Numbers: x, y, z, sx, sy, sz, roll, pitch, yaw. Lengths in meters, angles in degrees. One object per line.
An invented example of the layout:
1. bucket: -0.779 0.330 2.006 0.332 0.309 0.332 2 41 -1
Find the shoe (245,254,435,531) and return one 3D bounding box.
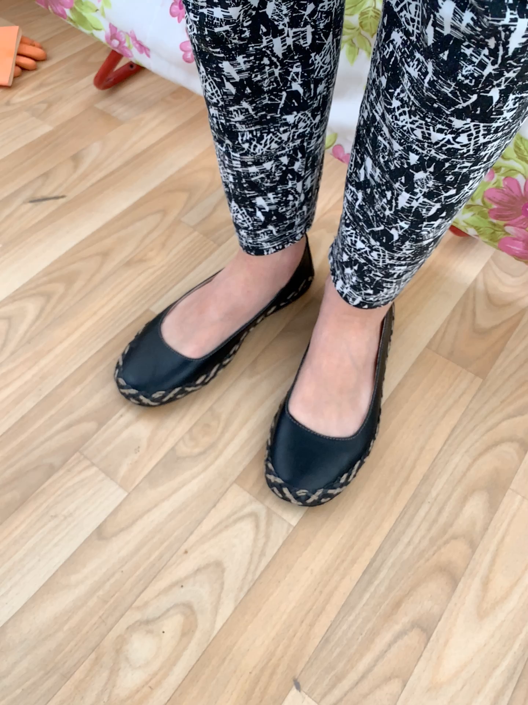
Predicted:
1. shoe: 0.079 0.025 0.523 0.100 0.060 0.251 20 58 12

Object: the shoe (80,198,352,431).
1. shoe: -0.040 -0.048 0.568 0.265 0.070 0.100 -37 64 -23
